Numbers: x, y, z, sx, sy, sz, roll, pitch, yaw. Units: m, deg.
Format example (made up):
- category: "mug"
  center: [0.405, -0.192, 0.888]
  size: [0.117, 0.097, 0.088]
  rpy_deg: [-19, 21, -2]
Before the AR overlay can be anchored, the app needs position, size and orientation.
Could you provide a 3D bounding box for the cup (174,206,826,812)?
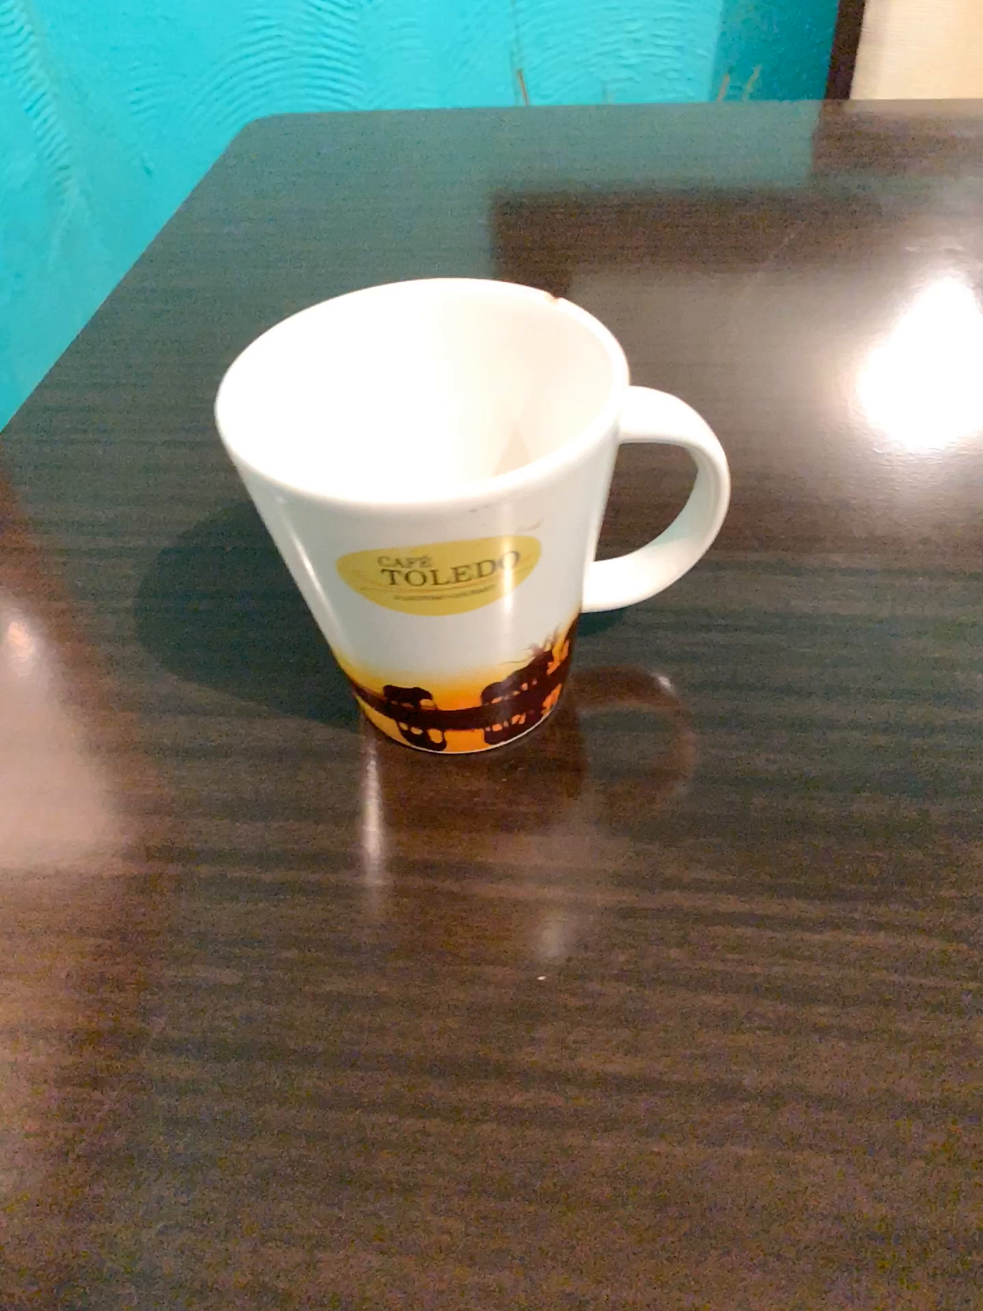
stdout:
- category: "cup"
  center: [-0.003, -0.035, 0.228]
  size: [0.110, 0.080, 0.090]
  rpy_deg: [-10, 46, -5]
